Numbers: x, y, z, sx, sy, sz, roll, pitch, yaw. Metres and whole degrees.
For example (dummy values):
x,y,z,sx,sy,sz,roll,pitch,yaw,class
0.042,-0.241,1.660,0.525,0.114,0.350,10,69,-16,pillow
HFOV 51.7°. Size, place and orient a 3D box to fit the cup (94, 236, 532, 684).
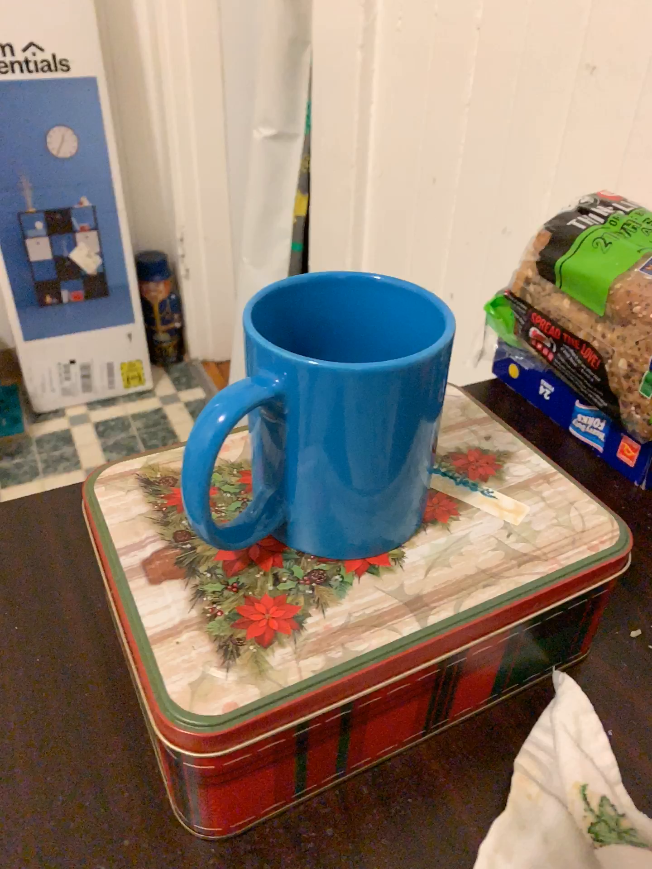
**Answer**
x,y,z,sx,sy,sz,roll,pitch,yaw,class
0.000,-0.002,0.265,0.090,0.099,0.130,27,43,31,cup
